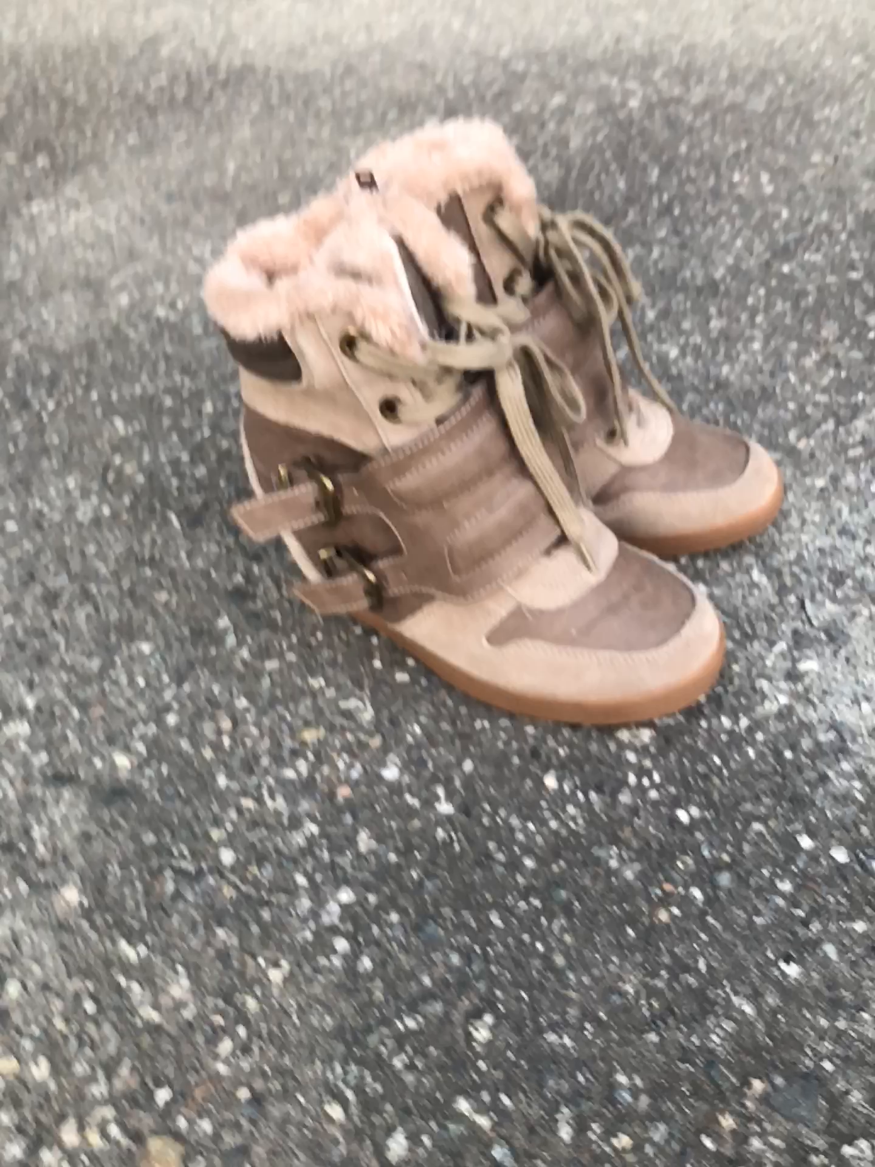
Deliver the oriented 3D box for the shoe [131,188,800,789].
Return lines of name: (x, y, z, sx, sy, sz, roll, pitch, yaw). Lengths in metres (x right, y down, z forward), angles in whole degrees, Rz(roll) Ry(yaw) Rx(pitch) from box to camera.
shoe: (0.011, -0.045, 0.412, 0.231, 0.179, 0.090, 22, 54, 28)

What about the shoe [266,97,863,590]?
shoe: (0.060, -0.120, 0.472, 0.231, 0.179, 0.100, 14, 50, 22)
